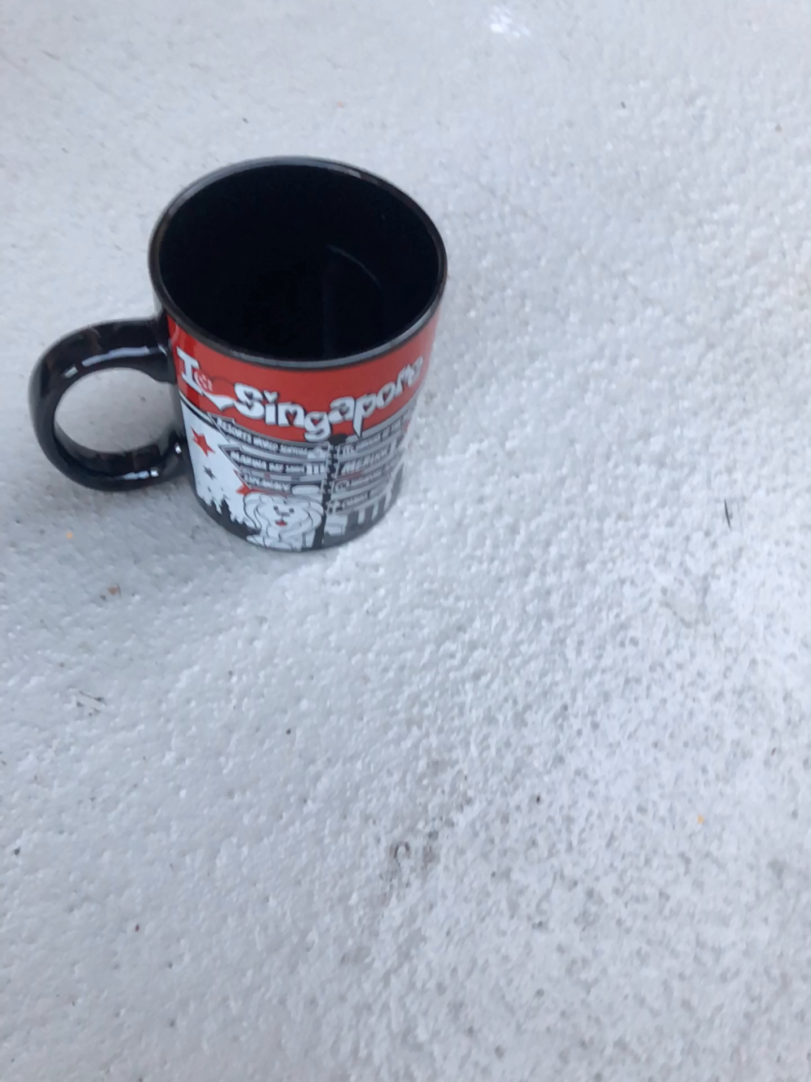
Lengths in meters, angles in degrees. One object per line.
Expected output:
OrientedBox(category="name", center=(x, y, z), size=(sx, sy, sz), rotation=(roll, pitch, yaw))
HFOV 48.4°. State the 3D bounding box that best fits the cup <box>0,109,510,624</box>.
OrientedBox(category="cup", center=(-0.054, -0.050, 0.274), size=(0.130, 0.110, 0.080), rotation=(-14, 61, -16))
